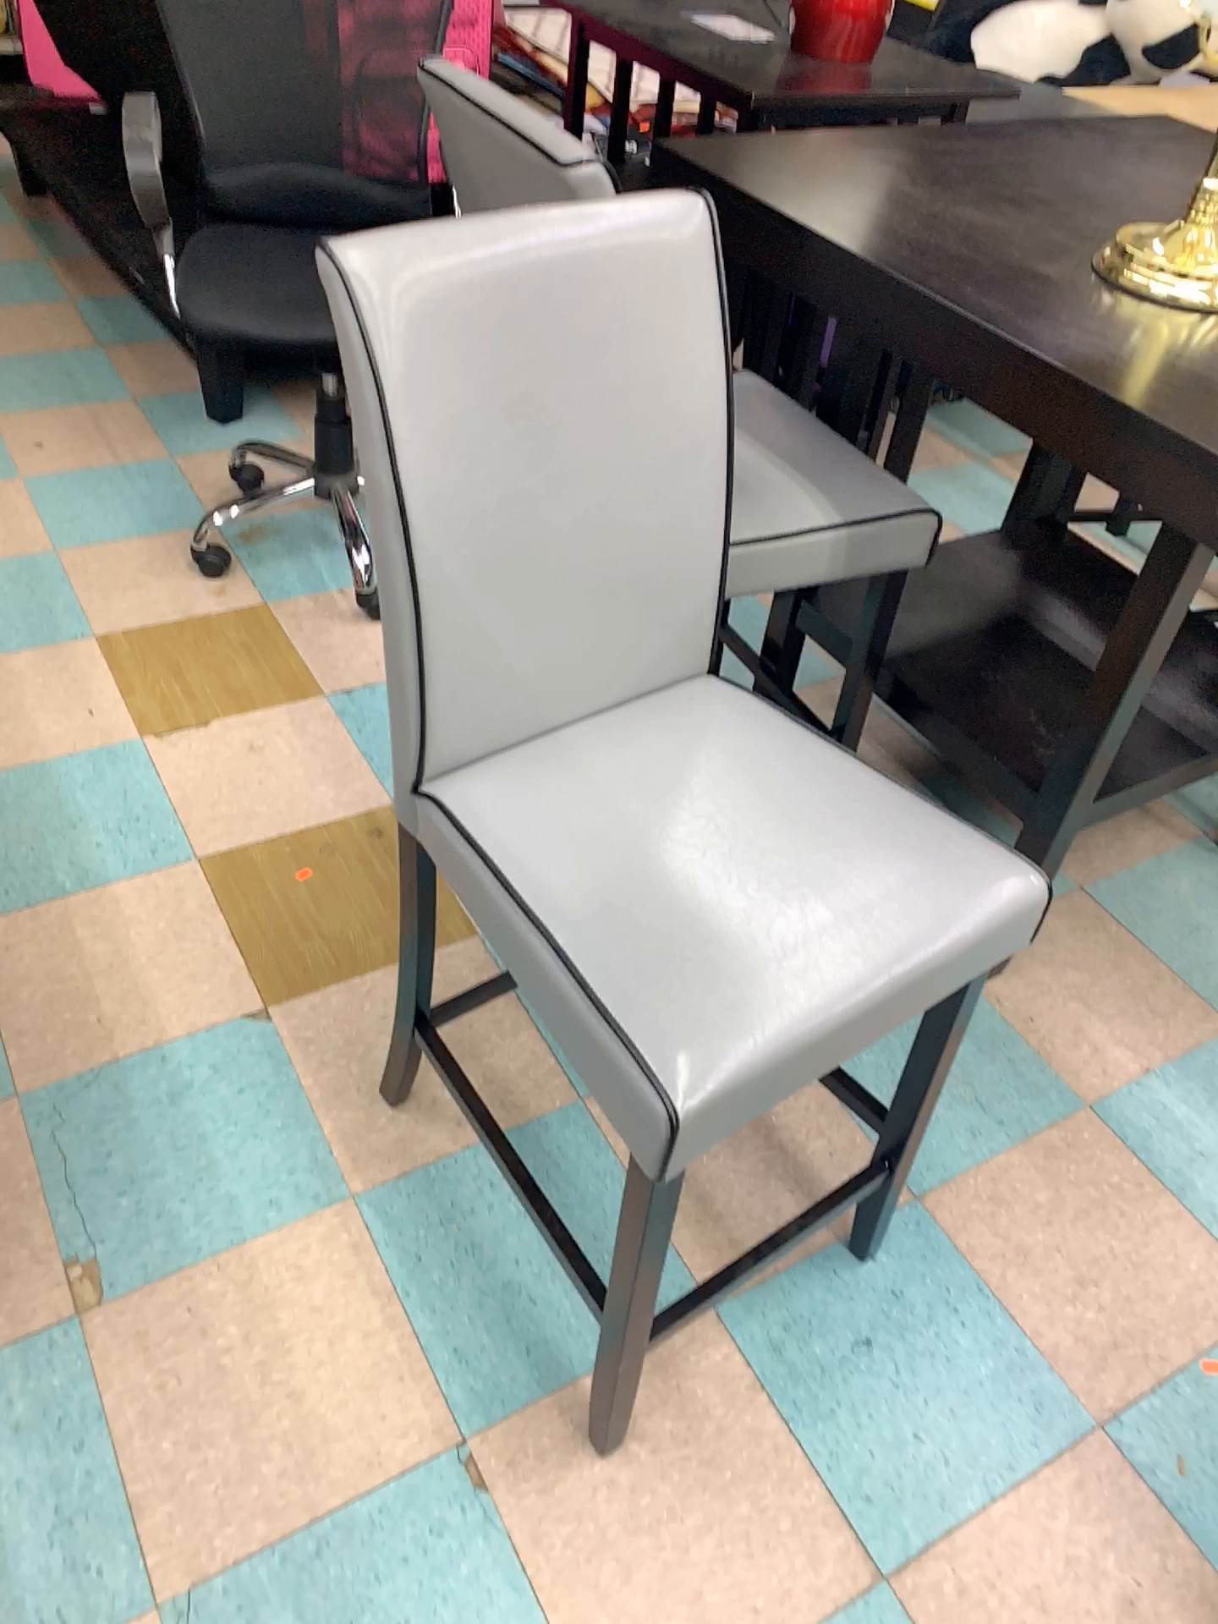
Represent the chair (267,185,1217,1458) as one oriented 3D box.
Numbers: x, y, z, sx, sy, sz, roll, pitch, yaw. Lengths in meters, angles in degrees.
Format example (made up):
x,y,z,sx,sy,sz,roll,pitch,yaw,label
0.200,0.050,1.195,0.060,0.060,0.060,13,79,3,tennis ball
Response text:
x,y,z,sx,sy,sz,roll,pitch,yaw,label
0.055,0.029,1.131,0.451,0.930,0.562,-23,50,-30,chair
